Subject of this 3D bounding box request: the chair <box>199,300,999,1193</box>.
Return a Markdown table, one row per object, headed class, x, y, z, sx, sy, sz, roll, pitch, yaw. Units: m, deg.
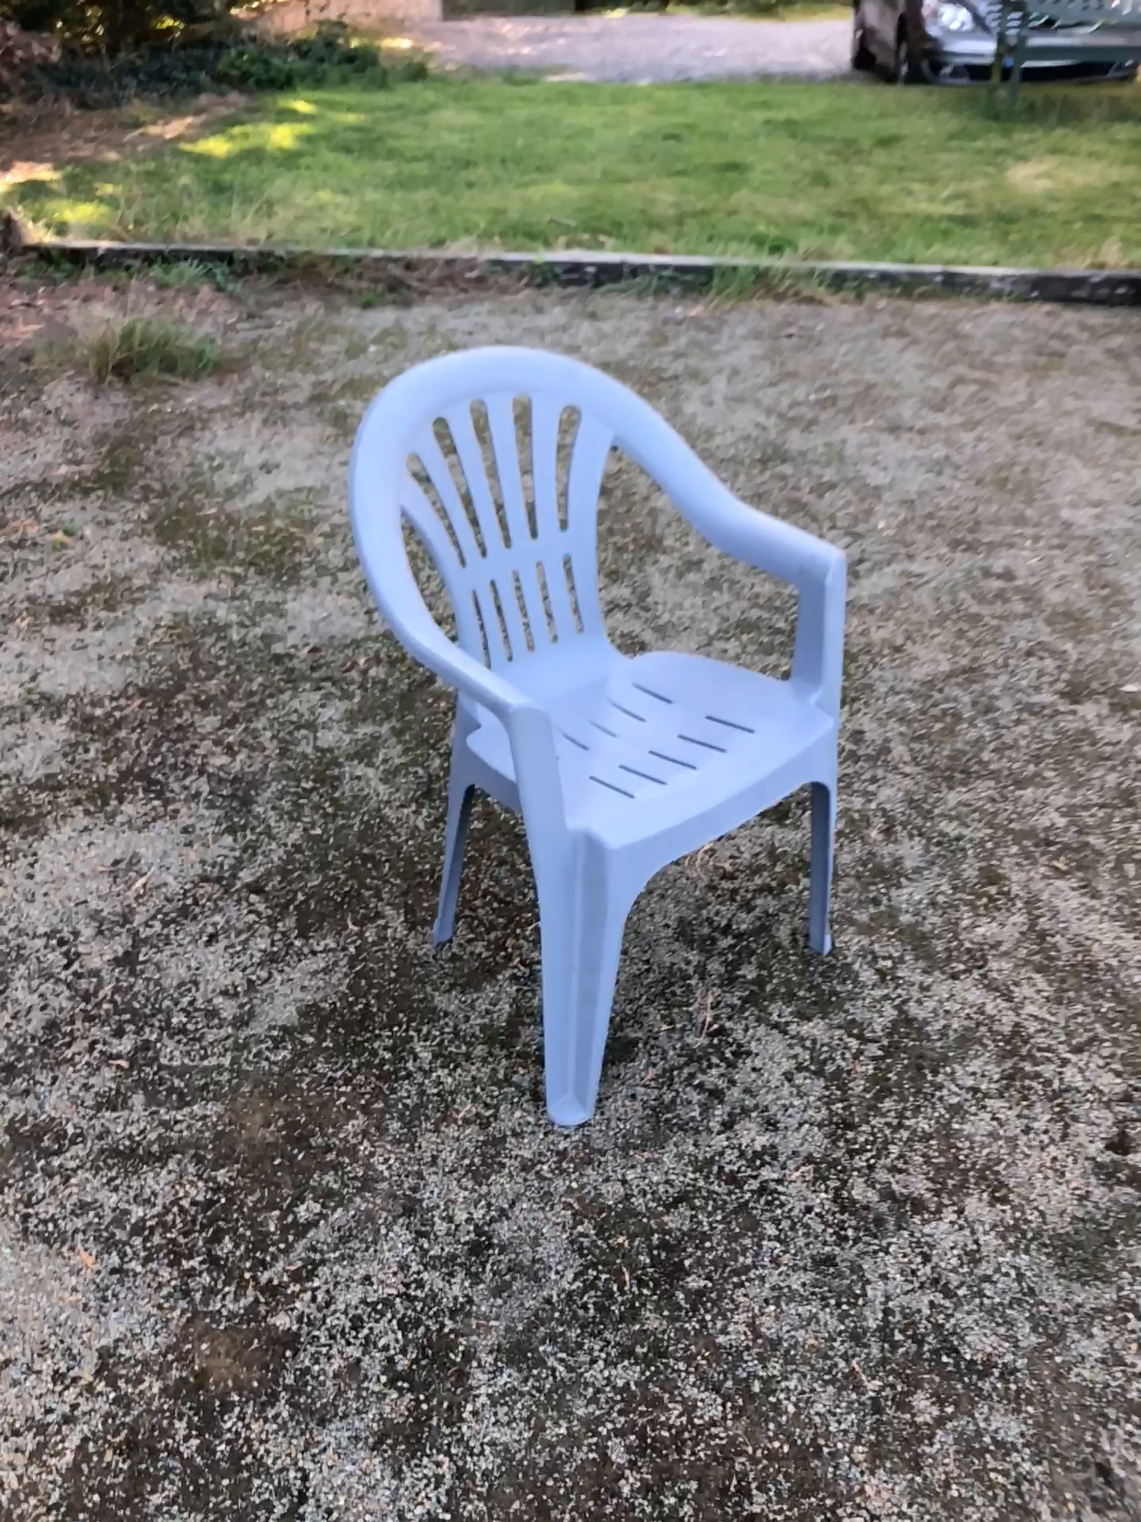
| class | x | y | z | sx | sy | sz | roll | pitch | yaw |
| --- | --- | --- | --- | --- | --- | --- | --- | --- | --- |
| chair | 0.019 | -0.067 | 1.592 | 0.633 | 0.775 | 0.621 | -24 | 42 | -30 |
